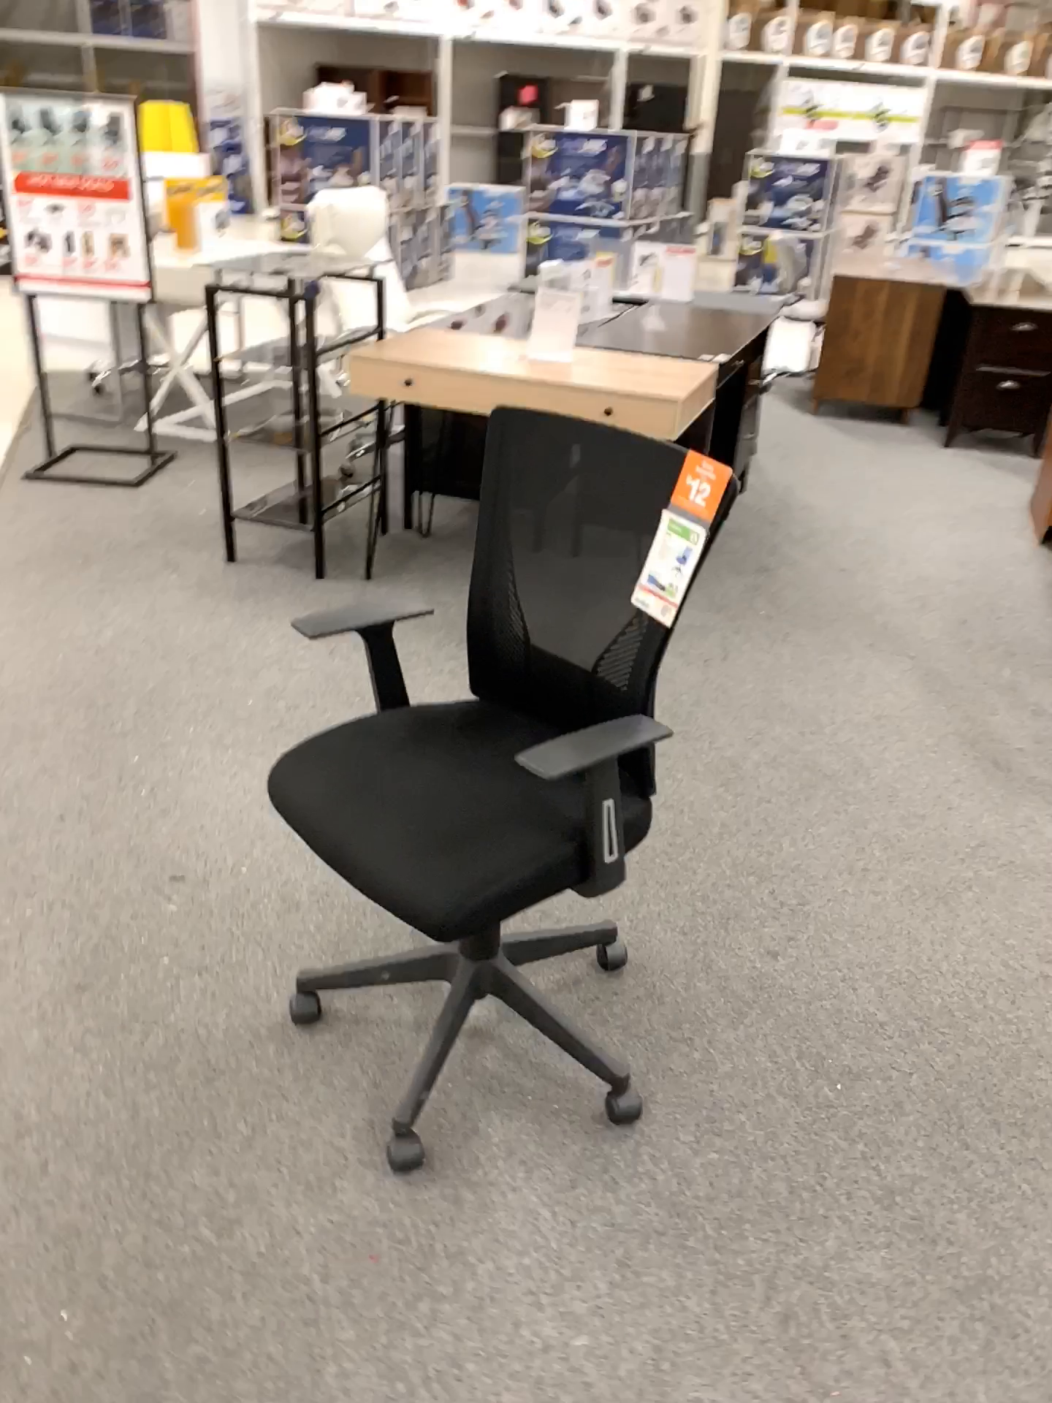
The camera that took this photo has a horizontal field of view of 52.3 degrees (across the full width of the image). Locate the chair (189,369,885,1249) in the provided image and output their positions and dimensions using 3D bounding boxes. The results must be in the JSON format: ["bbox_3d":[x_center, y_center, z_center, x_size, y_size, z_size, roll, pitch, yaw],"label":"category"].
[{"bbox_3d":[-0.033,0.093,1.637,0.640,0.995,0.673,-16,34,-33],"label":"chair"}]
